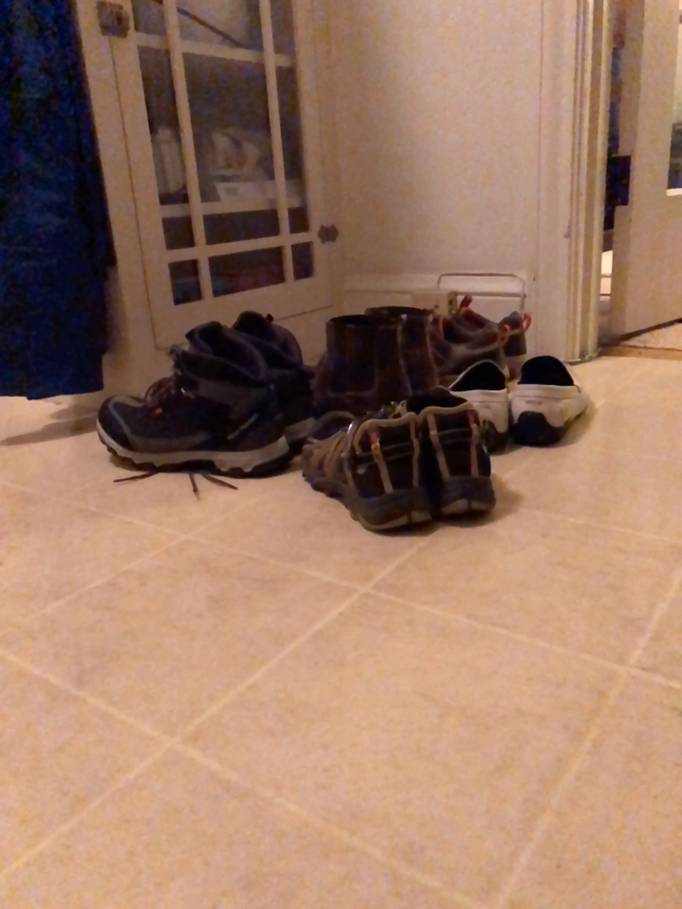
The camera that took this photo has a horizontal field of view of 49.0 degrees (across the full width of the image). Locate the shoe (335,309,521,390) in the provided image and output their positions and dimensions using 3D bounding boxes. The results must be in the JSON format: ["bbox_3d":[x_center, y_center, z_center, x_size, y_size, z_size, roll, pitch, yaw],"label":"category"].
[{"bbox_3d":[0.155,-0.196,1.352,0.313,0.113,0.111,8,21,31],"label":"shoe"}]

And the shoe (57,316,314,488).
[{"bbox_3d":[-0.211,-0.082,1.018,0.323,0.192,0.111,6,20,27],"label":"shoe"}]

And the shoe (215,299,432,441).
[{"bbox_3d":[-0.028,-0.144,1.197,0.323,0.192,0.111,6,21,28],"label":"shoe"}]

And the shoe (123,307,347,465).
[{"bbox_3d":[-0.161,-0.115,1.127,0.323,0.192,0.111,9,22,33],"label":"shoe"}]

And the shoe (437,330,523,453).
[{"bbox_3d":[0.211,-0.105,1.136,0.110,0.113,0.304,0,19,11],"label":"shoe"}]

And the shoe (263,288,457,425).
[{"bbox_3d":[0.028,-0.178,1.281,0.323,0.192,0.110,11,23,38],"label":"shoe"}]

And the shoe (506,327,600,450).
[{"bbox_3d":[0.328,-0.111,1.135,0.110,0.113,0.304,3,20,20],"label":"shoe"}]

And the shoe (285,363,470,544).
[{"bbox_3d":[0.031,-0.017,0.894,0.110,0.123,0.294,-10,19,-18],"label":"shoe"}]

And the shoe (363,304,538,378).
[{"bbox_3d":[0.208,-0.225,1.443,0.313,0.113,0.111,8,21,31],"label":"shoe"}]

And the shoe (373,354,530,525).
[{"bbox_3d":[0.125,-0.033,0.934,0.110,0.123,0.294,-6,19,-7],"label":"shoe"}]
